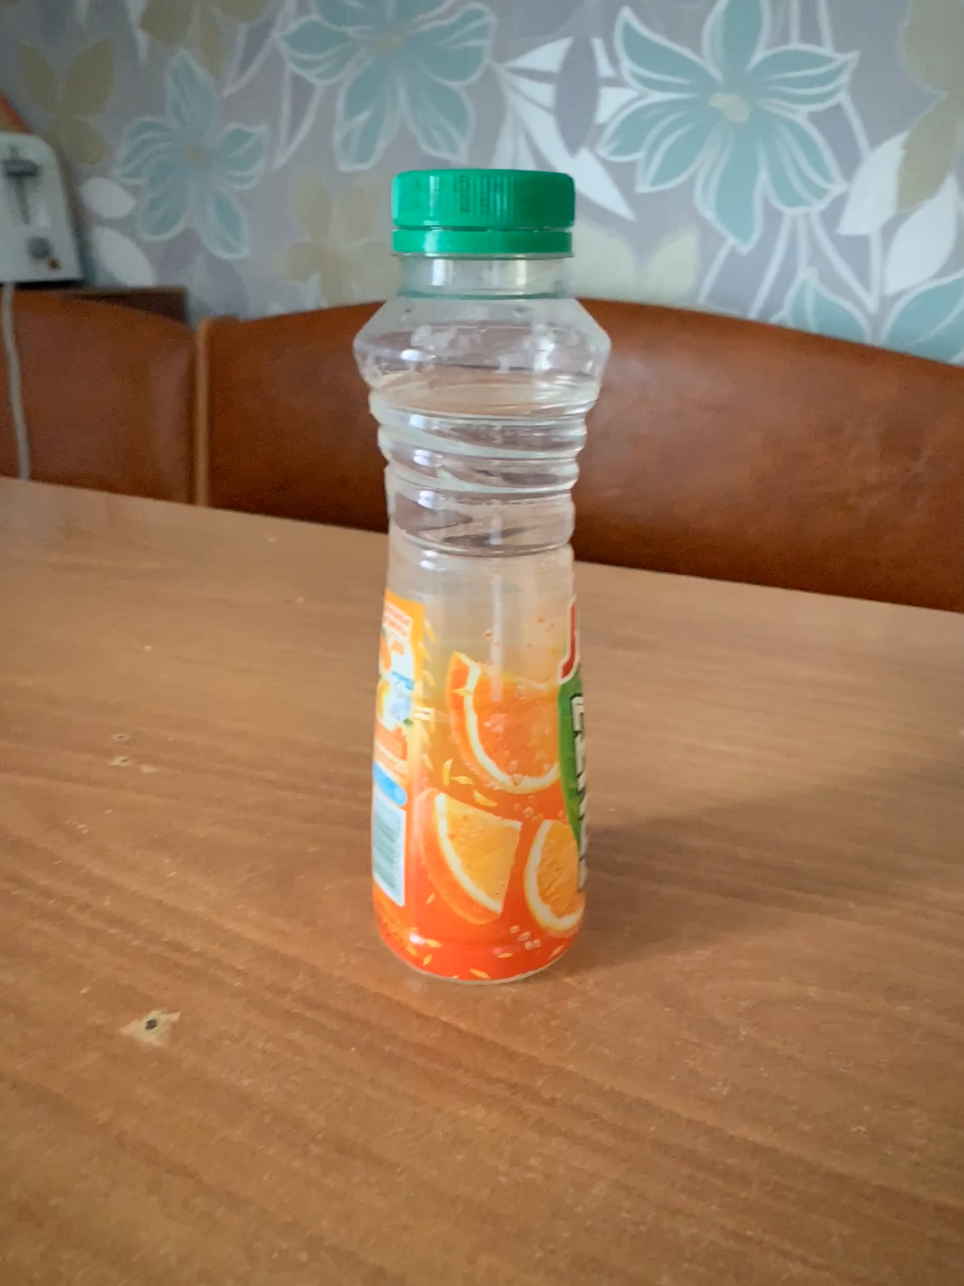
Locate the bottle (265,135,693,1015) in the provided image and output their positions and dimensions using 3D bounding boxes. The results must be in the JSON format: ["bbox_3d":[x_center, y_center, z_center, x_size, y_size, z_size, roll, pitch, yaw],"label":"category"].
[{"bbox_3d":[0.001,-0.017,0.261,0.070,0.201,0.070,1,23,0],"label":"bottle"}]
